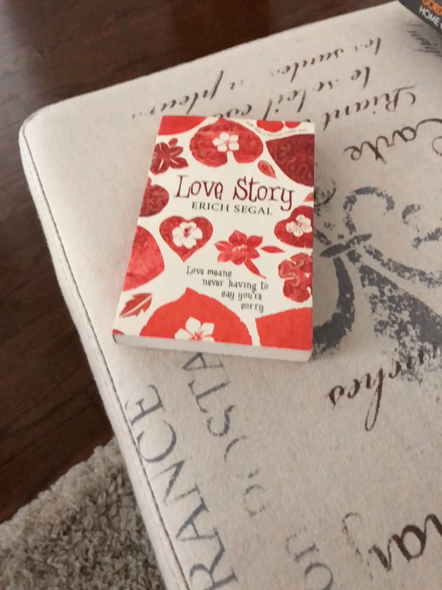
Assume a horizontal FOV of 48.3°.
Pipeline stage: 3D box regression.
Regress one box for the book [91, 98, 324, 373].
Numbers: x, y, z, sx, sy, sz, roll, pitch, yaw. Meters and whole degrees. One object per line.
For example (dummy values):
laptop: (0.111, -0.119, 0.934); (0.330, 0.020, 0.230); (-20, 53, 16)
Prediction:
book: (0.001, -0.049, 0.308); (0.120, 0.020, 0.188); (5, 60, 2)
